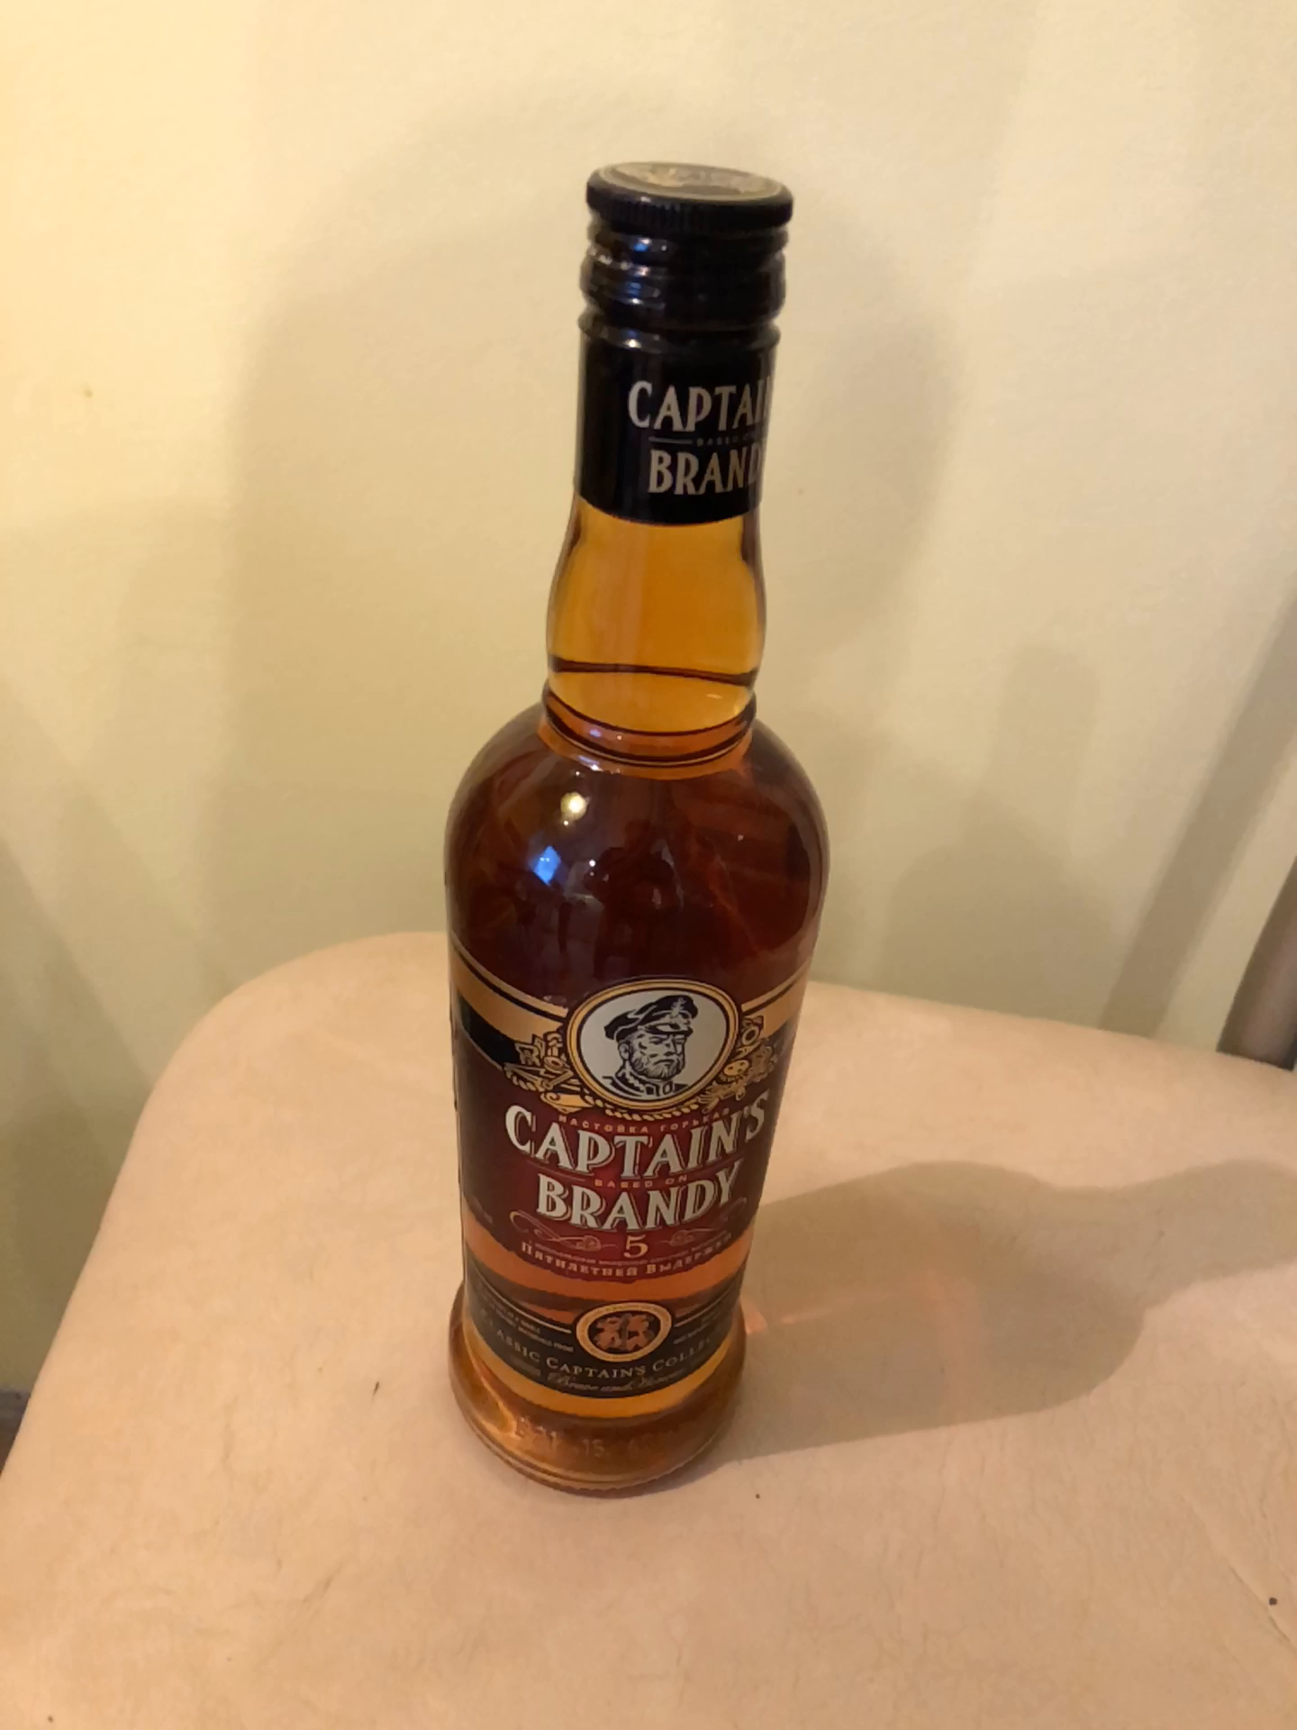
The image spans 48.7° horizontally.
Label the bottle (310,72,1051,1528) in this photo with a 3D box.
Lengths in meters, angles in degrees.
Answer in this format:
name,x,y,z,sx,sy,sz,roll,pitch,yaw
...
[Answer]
name,x,y,z,sx,sy,sz,roll,pitch,yaw
bottle,-0.004,0.011,0.256,0.080,0.258,0.070,-2,36,-7
